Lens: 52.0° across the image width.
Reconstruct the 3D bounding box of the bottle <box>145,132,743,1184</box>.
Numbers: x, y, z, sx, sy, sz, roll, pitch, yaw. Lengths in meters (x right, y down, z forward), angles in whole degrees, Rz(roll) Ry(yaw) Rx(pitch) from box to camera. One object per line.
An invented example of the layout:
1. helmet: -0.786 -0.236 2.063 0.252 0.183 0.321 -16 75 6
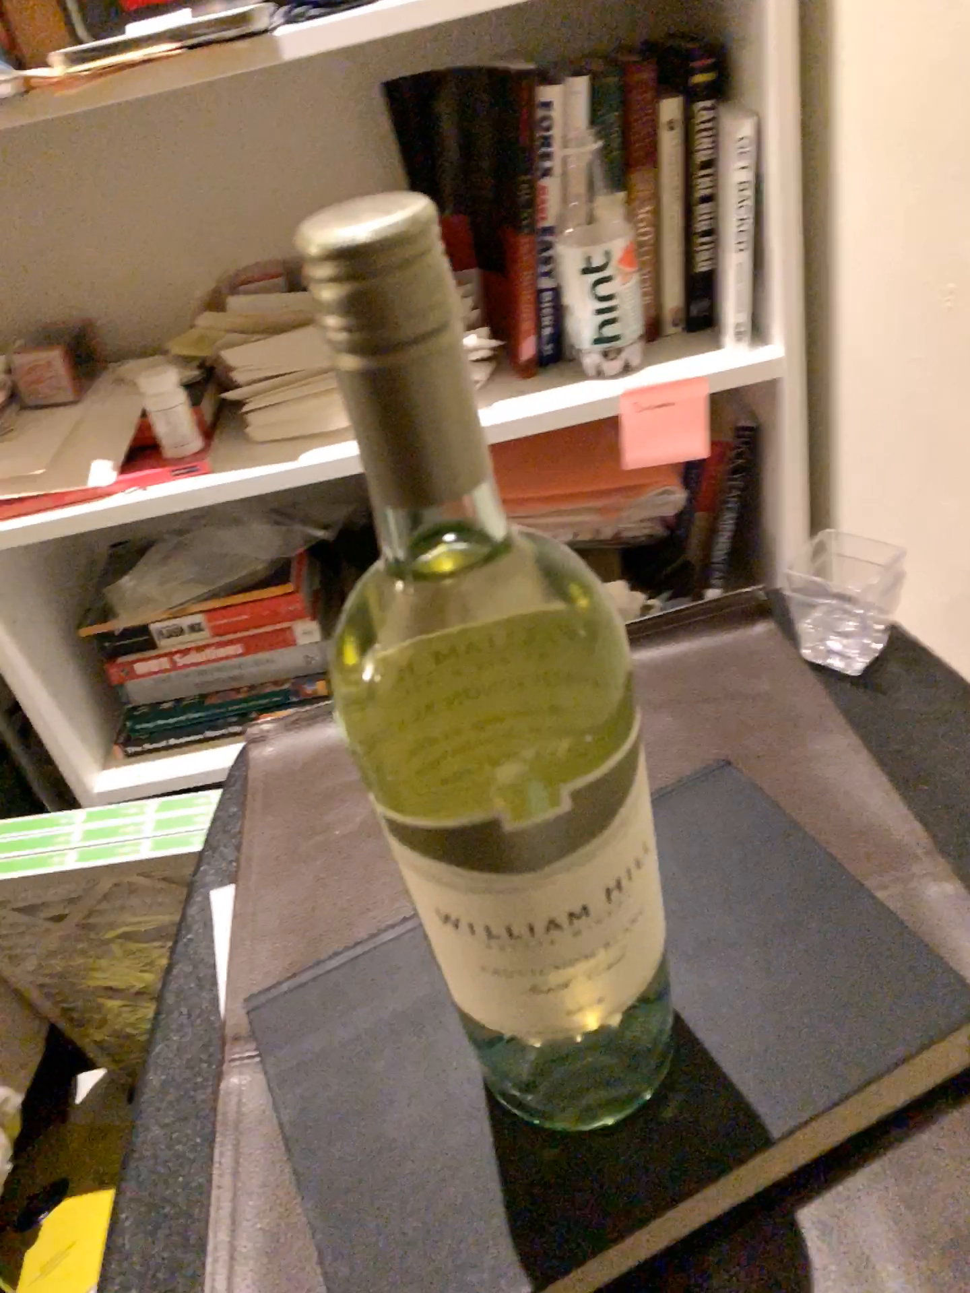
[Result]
1. bottle: 0.006 0.027 0.294 0.090 0.298 0.091 -10 34 7
